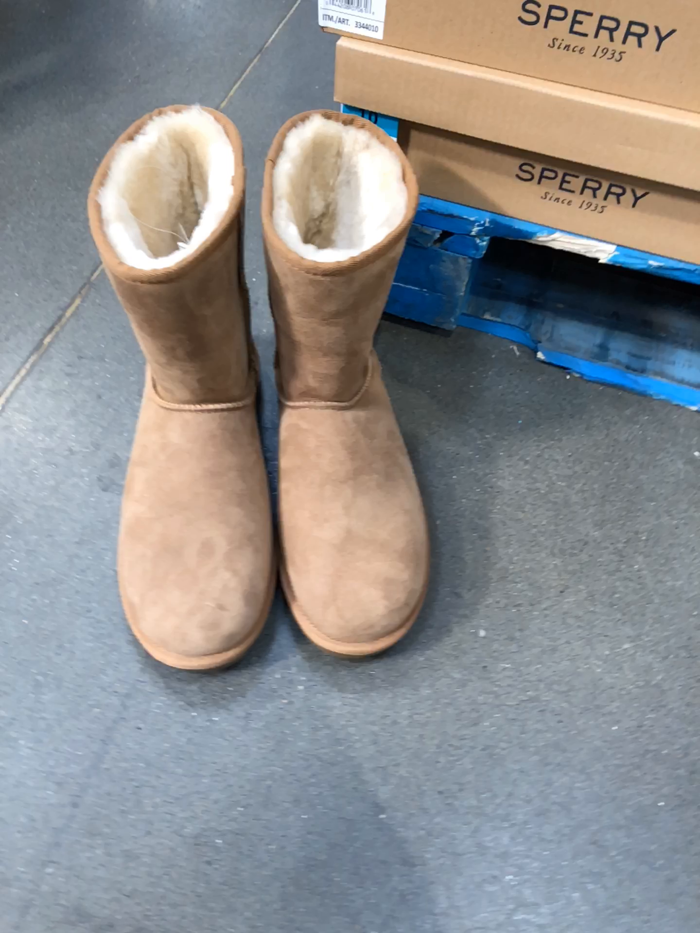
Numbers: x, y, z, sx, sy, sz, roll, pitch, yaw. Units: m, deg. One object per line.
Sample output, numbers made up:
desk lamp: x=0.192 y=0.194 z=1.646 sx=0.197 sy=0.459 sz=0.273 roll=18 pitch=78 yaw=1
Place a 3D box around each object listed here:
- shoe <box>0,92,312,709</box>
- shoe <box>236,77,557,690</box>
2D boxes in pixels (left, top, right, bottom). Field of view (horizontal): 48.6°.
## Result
shoe: x=-0.094 y=-0.035 z=0.513 sx=0.130 sy=0.259 sz=0.311 roll=-1 pitch=57 yaw=-3
shoe: x=0.004 y=-0.048 z=0.522 sx=0.130 sy=0.259 sz=0.311 roll=-4 pitch=57 yaw=-5
